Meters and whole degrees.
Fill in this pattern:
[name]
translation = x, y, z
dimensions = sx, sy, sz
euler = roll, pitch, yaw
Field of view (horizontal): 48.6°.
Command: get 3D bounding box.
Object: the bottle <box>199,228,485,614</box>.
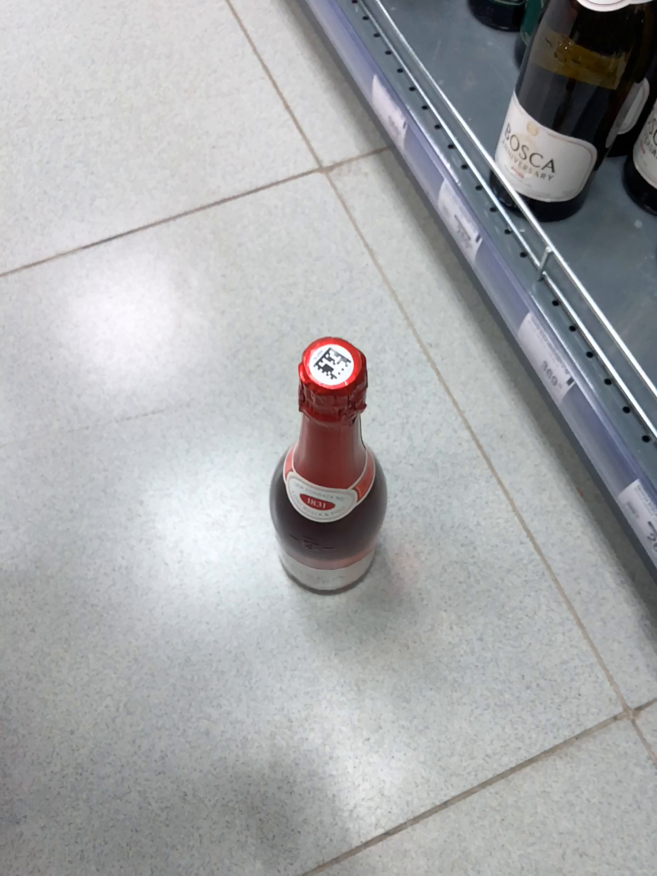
[bottle]
translation = 0.007, 0.020, 0.483
dimensions = 0.100, 0.318, 0.100
euler = 0, 66, 0
